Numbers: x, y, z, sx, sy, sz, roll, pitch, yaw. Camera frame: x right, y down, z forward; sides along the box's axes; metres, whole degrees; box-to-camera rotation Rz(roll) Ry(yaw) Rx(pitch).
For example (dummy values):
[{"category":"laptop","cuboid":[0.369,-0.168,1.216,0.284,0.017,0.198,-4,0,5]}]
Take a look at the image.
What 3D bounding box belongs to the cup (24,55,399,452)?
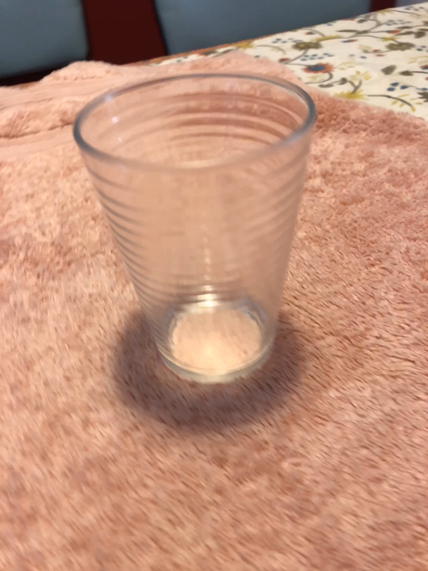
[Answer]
[{"category":"cup","cuboid":[-0.002,-0.016,0.169,0.080,0.089,0.080,-3,42,3]}]
